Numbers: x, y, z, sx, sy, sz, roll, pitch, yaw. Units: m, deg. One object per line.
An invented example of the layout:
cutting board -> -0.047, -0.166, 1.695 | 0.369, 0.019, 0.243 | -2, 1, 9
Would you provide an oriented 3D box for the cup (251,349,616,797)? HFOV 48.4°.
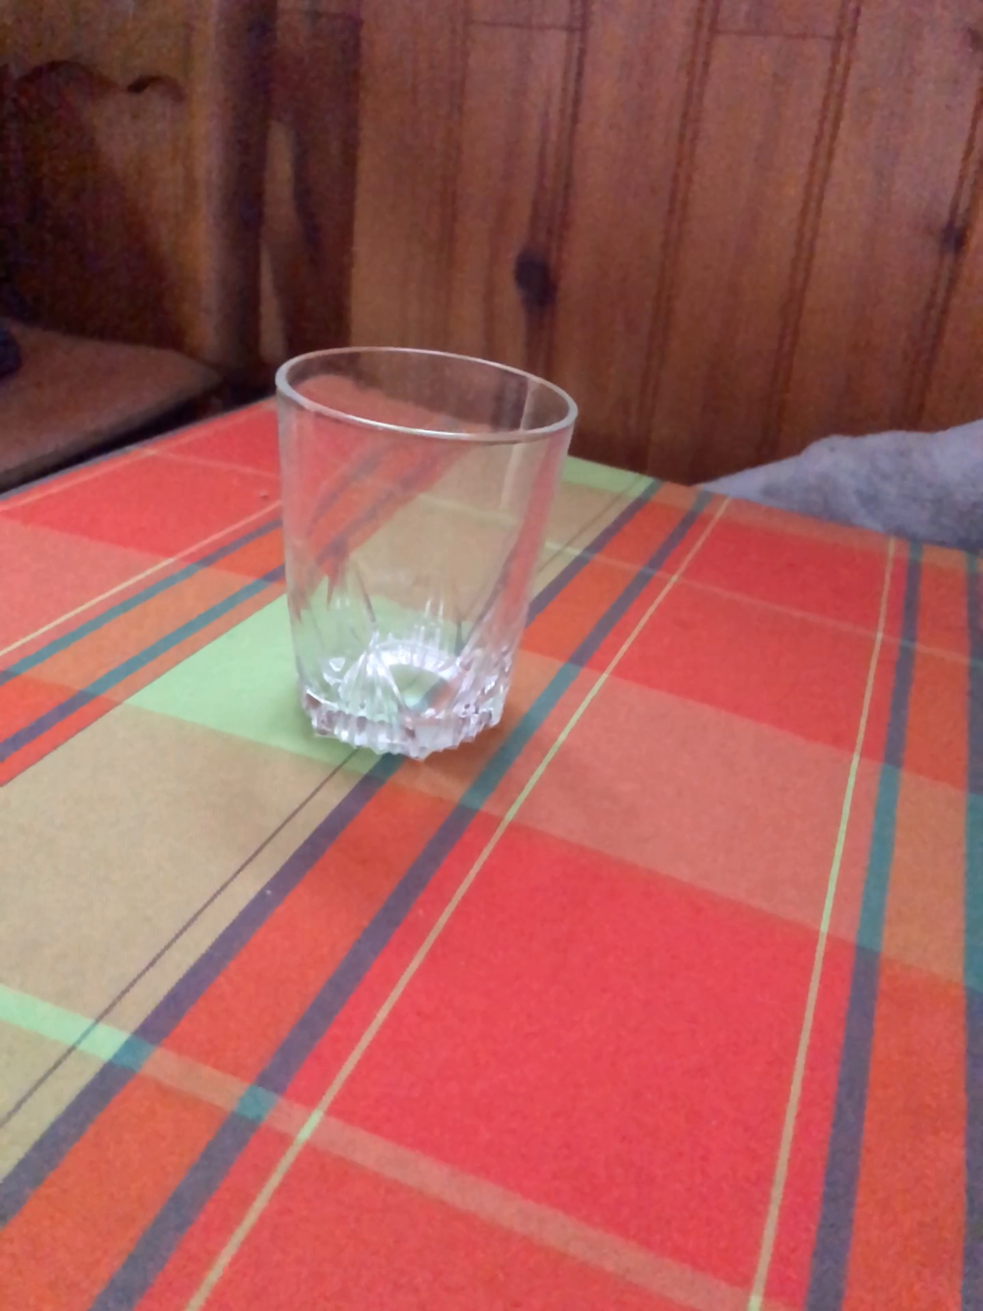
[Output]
cup -> -0.014, -0.022, 0.258 | 0.070, 0.080, 0.070 | 4, 26, -2
